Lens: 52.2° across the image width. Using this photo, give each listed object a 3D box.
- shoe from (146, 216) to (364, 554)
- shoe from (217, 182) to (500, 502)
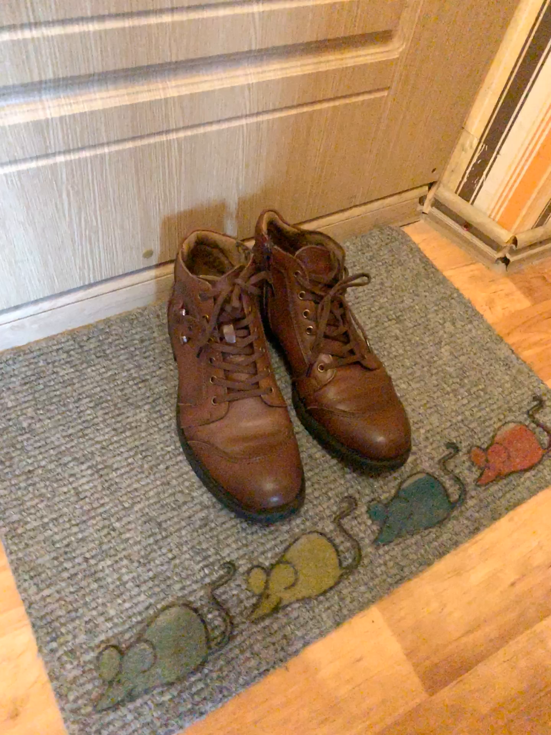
[{"bbox_3d":[-0.036,0.008,0.514,0.110,0.140,0.261,-10,57,-16],"label":"shoe"},{"bbox_3d":[0.059,-0.033,0.556,0.110,0.140,0.270,-23,61,-24],"label":"shoe"}]
